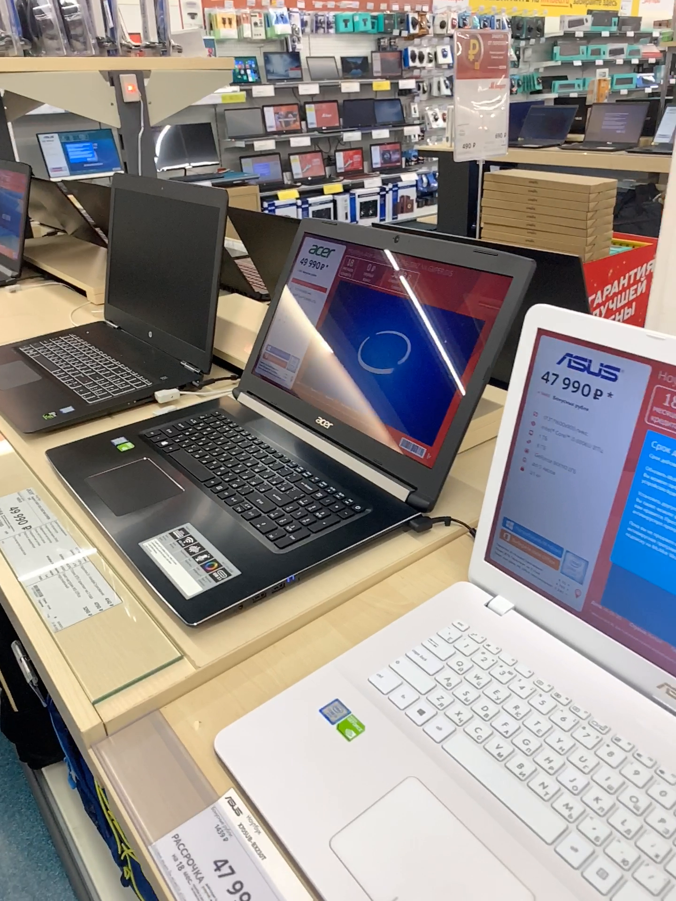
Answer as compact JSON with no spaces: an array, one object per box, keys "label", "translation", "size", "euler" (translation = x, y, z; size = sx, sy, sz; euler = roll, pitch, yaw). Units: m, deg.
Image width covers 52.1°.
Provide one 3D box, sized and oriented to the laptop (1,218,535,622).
[{"label":"laptop","translation":[-0.089,-0.095,0.804],"size":[0.420,0.235,0.422],"euler":[-21,32,-31]}]
